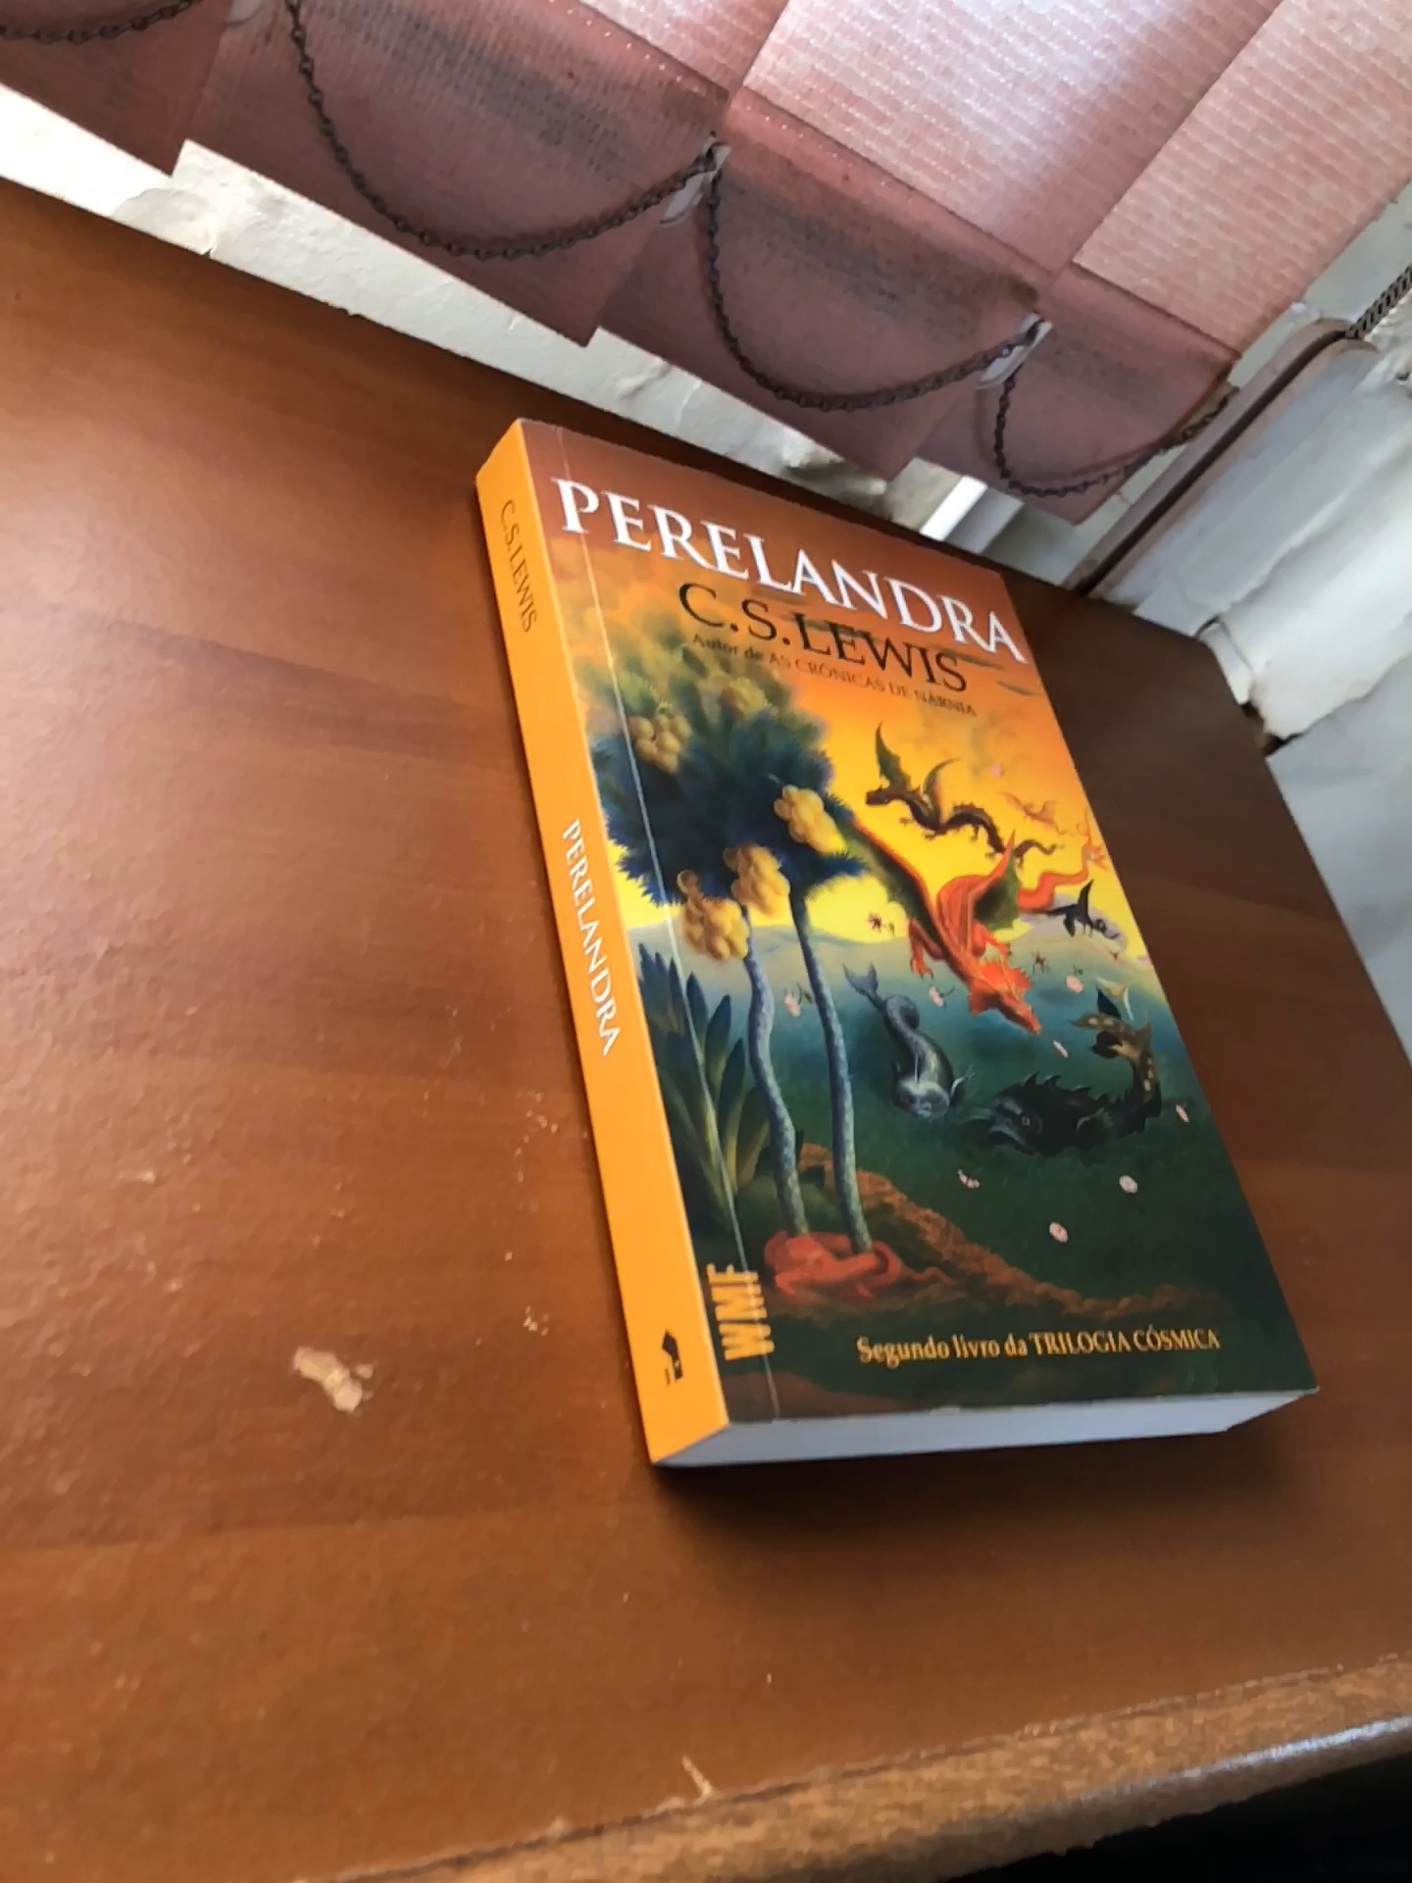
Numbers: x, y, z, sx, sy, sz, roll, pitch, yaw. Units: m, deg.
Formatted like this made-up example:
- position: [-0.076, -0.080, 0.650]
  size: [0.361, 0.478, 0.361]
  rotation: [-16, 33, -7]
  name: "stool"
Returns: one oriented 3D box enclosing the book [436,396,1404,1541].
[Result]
- position: [0.031, -0.003, 0.277]
  size: [0.131, 0.030, 0.191]
  rotation: [8, 53, -33]
  name: "book"
